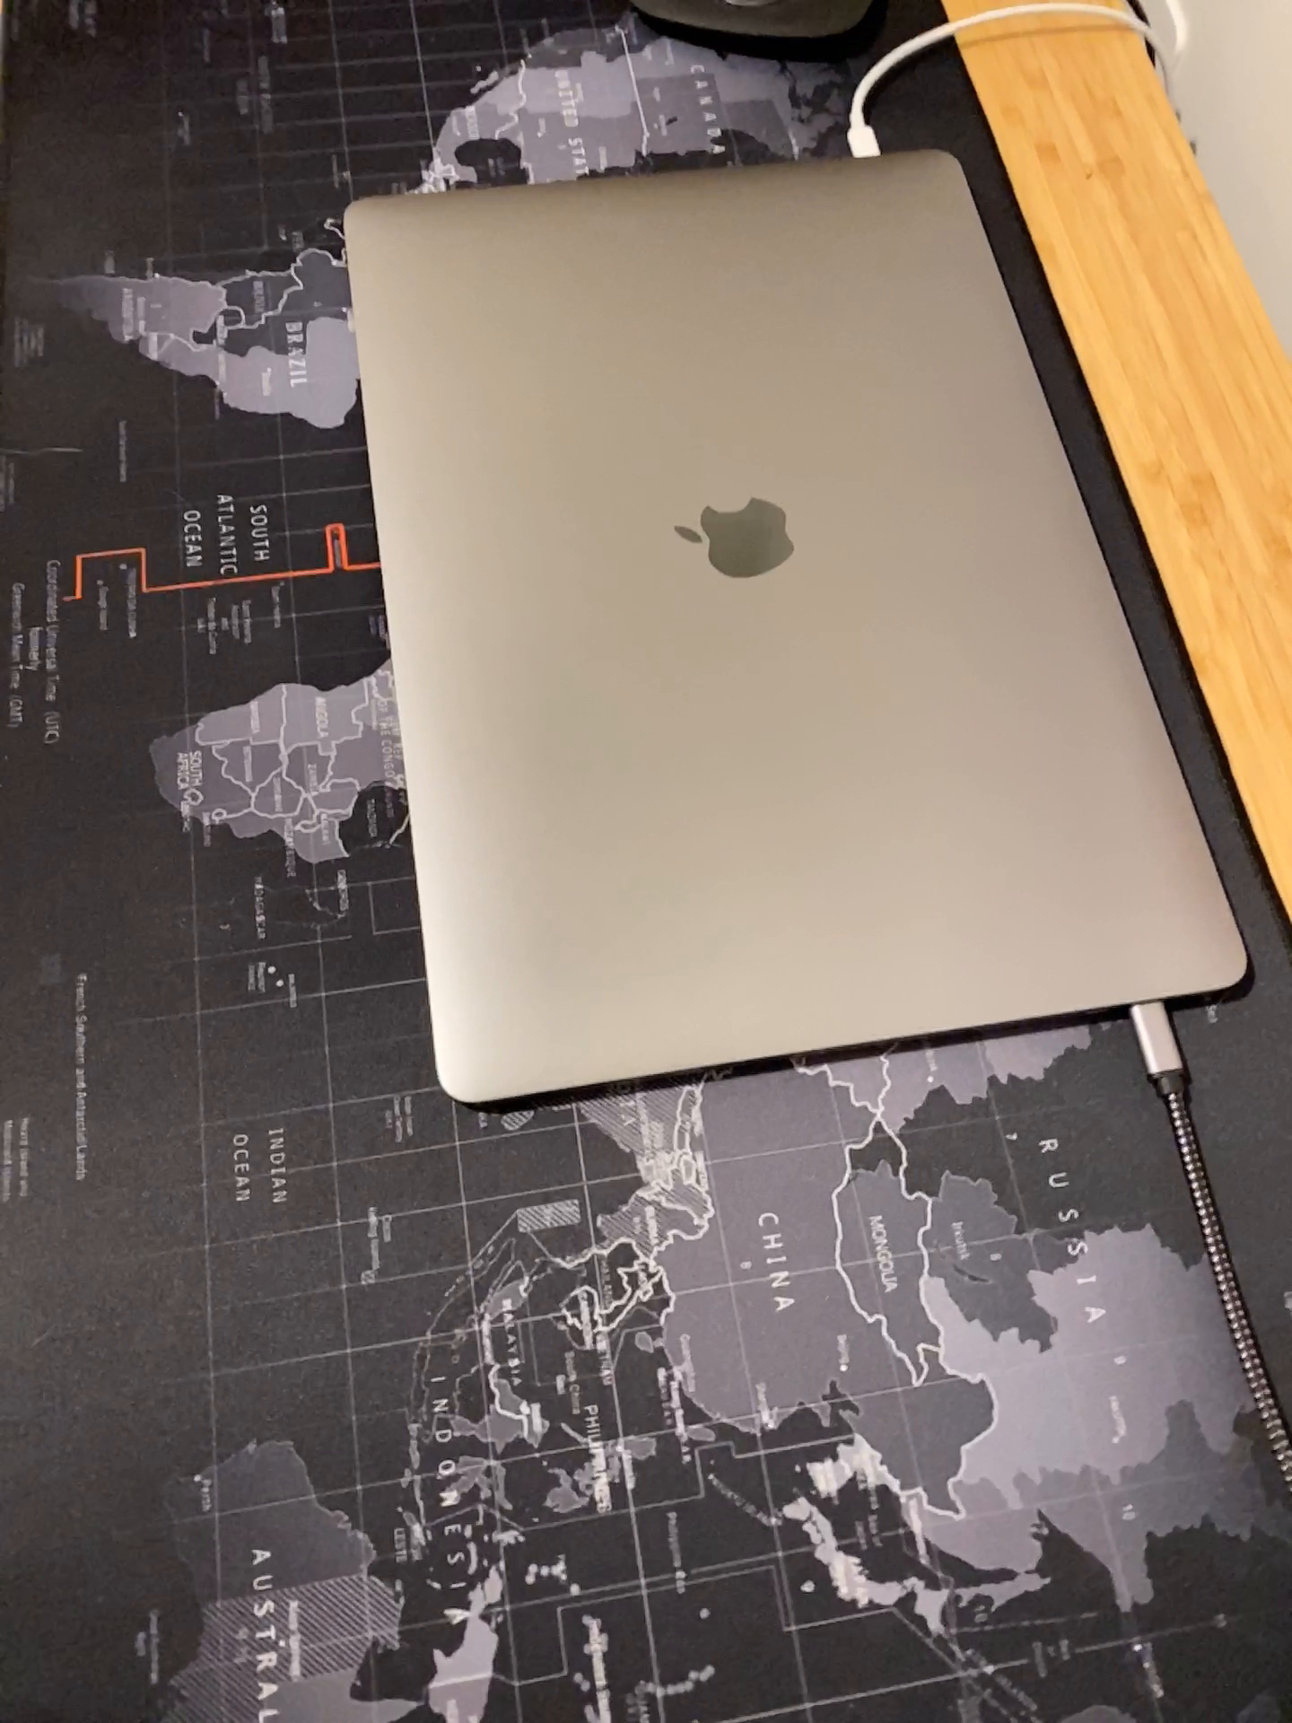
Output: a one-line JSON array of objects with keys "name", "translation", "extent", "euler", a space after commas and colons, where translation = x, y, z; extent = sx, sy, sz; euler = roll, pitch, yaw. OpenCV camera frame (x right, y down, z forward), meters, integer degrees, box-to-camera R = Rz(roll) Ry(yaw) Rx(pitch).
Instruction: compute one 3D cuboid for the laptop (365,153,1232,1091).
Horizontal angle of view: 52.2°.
[{"name": "laptop", "translation": [0.031, -0.106, 0.435], "extent": [0.226, 0.002, 0.336], "euler": [-7, 66, -5]}]
